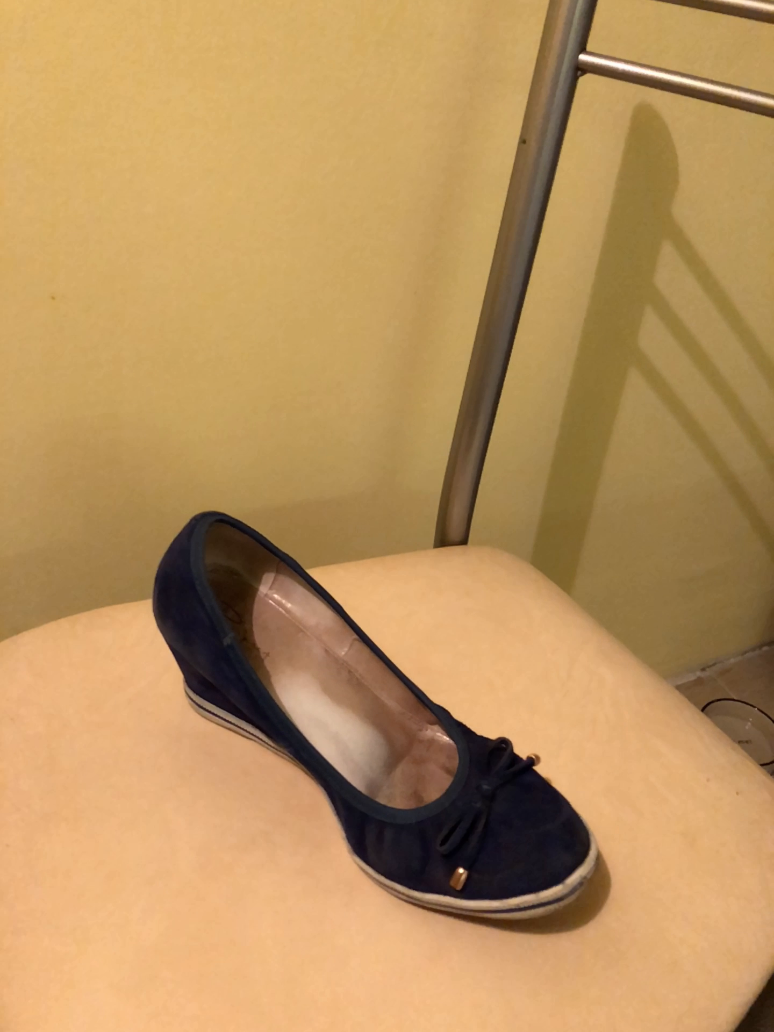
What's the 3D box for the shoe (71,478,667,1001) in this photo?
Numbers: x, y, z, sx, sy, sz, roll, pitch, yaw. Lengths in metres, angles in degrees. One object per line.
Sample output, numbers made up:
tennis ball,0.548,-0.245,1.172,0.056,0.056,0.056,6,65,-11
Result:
shoe,-0.018,0.088,0.396,0.250,0.099,0.091,24,41,23
